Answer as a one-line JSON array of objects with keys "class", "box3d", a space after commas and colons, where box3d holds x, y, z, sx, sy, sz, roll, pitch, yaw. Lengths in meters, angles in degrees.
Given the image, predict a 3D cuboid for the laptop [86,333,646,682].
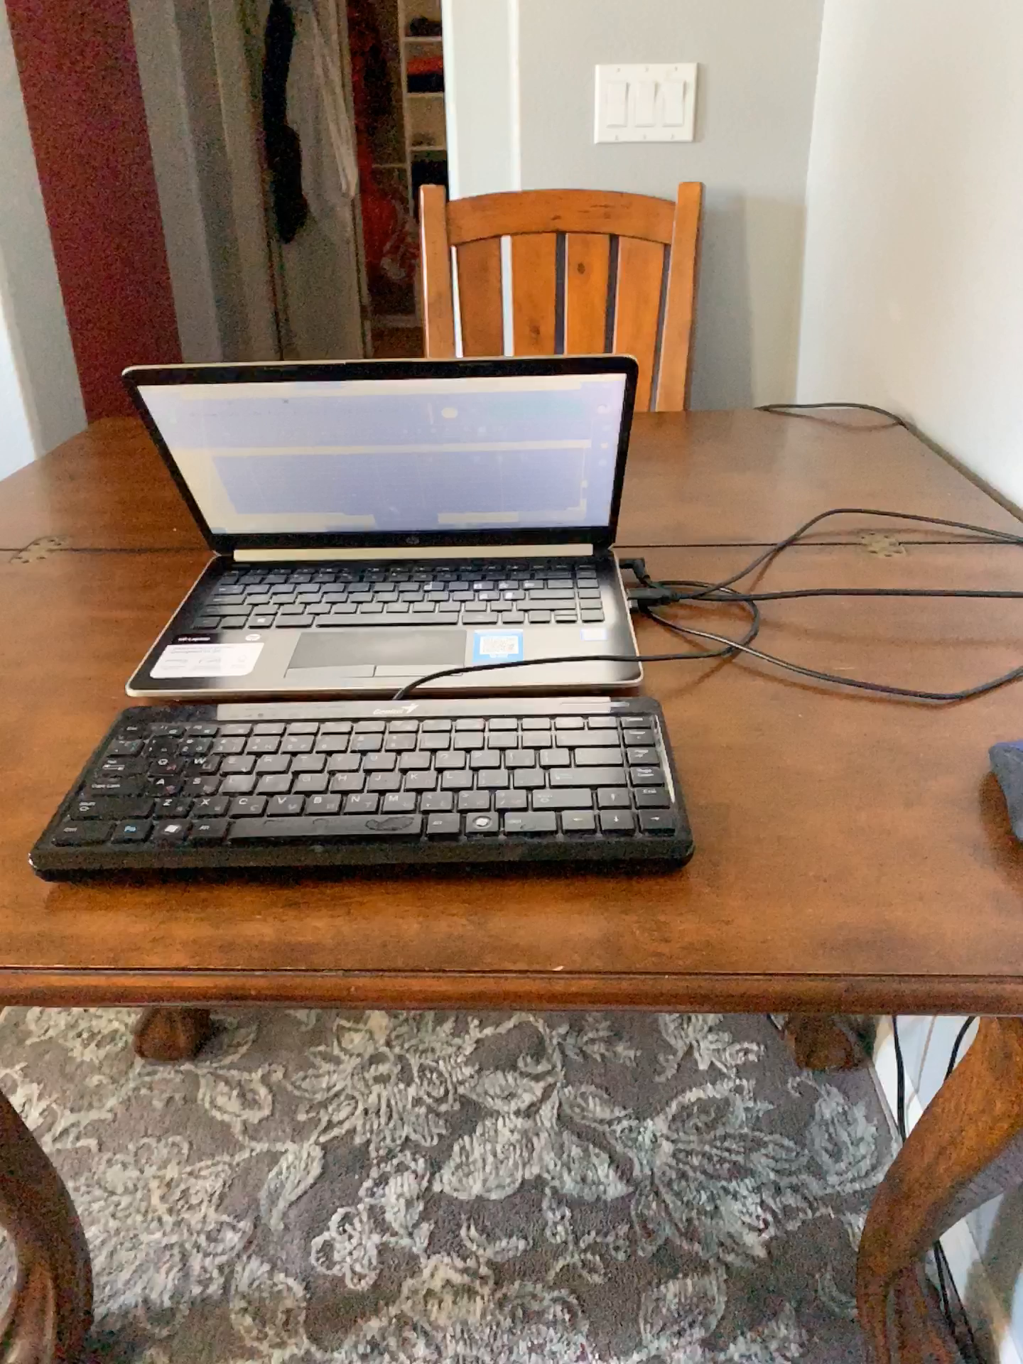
[{"class": "laptop", "box3d": [-0.075, -0.122, 0.685, 0.302, 0.157, 0.200, 0, 29, 2]}]
